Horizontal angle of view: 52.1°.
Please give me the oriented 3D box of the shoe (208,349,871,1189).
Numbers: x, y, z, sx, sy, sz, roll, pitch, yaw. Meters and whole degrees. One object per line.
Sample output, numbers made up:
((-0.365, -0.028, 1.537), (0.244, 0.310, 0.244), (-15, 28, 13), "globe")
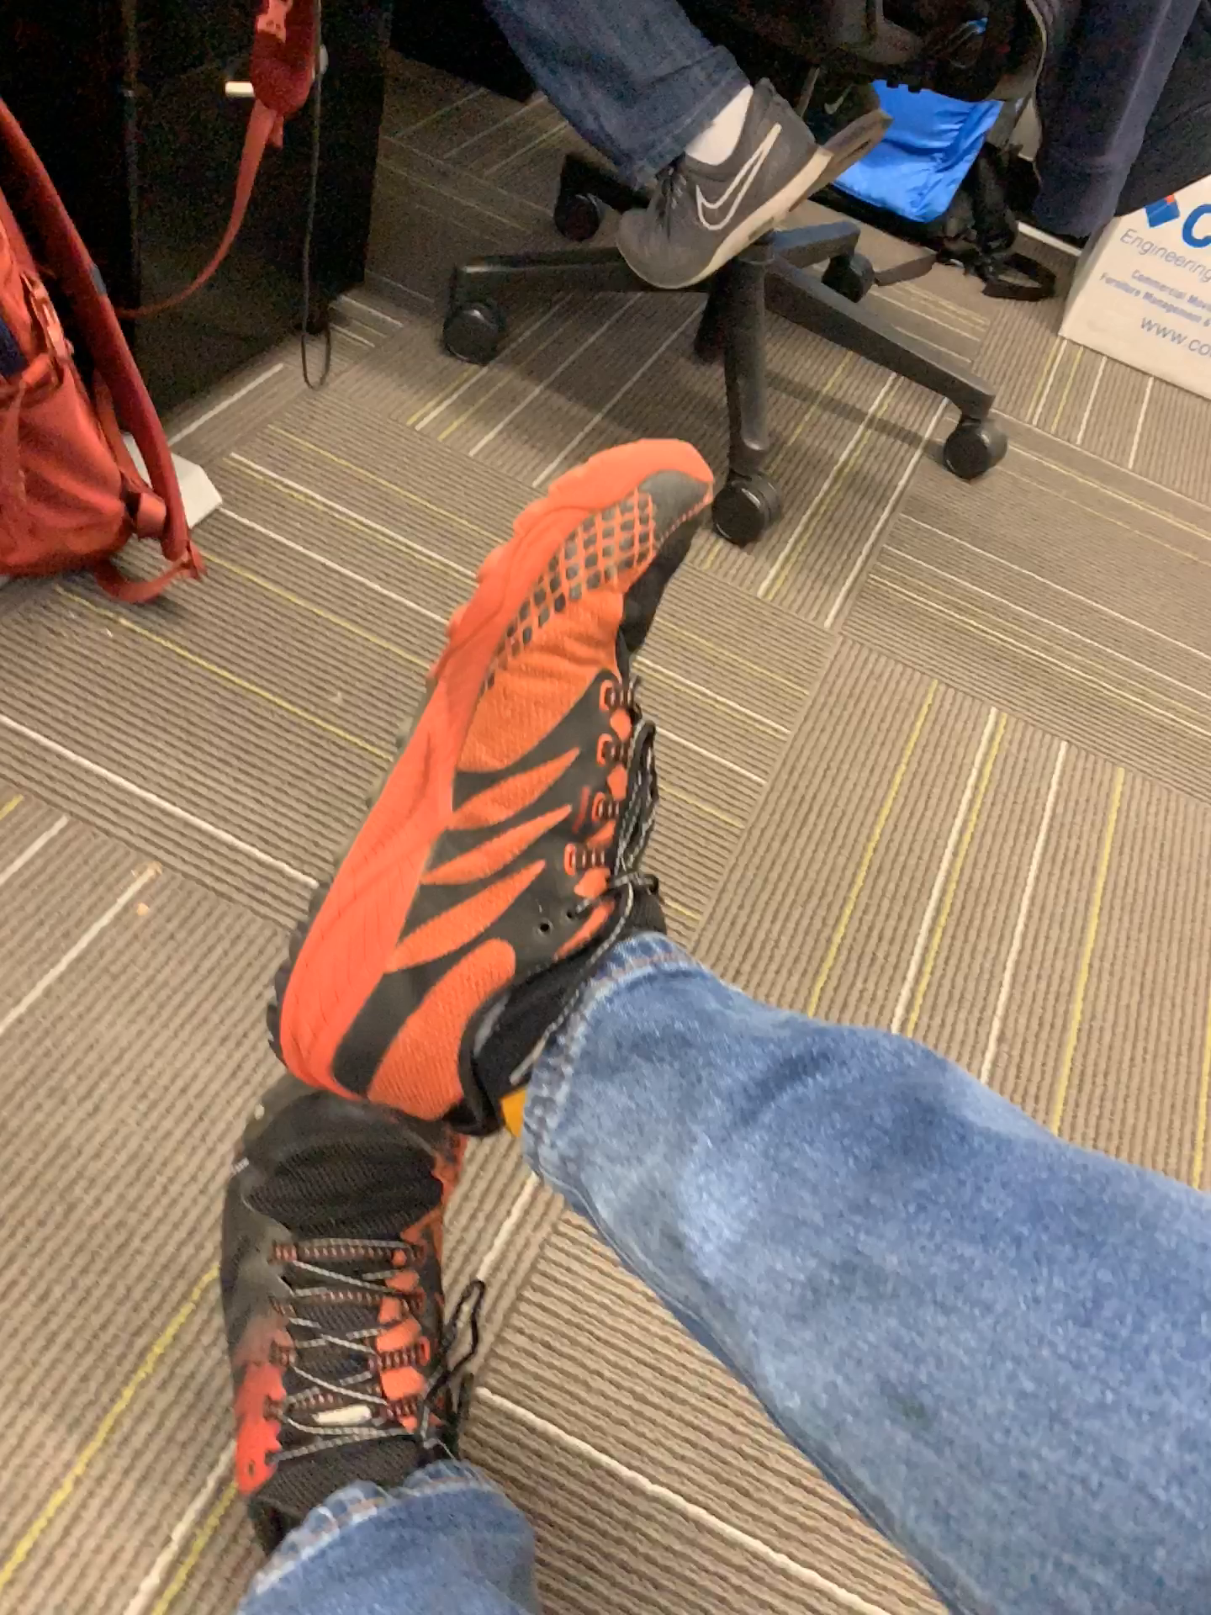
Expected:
((-0.030, -0.016, 0.542), (0.142, 0.304, 0.118), (27, 14, -1), "shoe")

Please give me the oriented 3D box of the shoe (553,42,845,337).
((0.118, -0.823, 1.684), (0.164, 0.355, 0.156), (46, 62, -20), "shoe")

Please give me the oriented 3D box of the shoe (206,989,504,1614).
((-0.130, 0.250, 0.622), (0.129, 0.135, 0.289), (0, 92, -19), "shoe")
